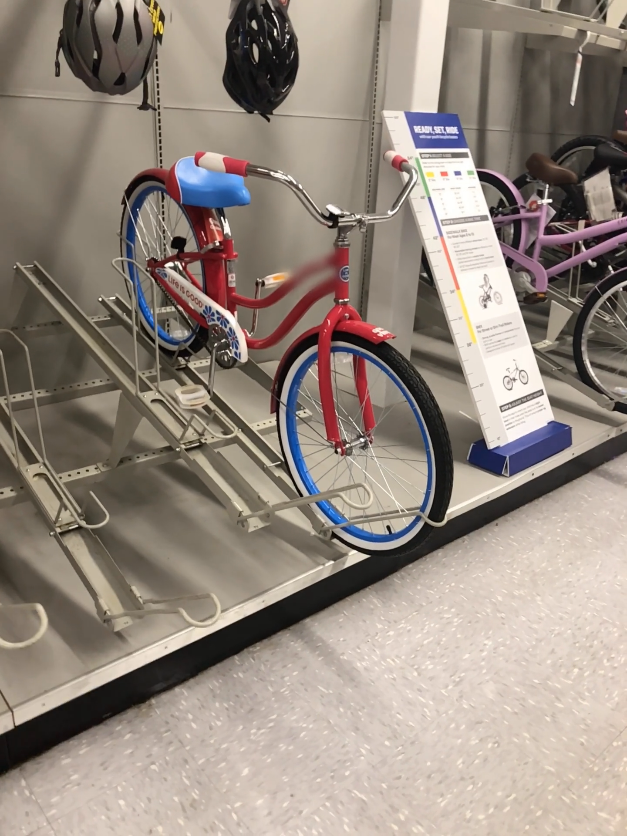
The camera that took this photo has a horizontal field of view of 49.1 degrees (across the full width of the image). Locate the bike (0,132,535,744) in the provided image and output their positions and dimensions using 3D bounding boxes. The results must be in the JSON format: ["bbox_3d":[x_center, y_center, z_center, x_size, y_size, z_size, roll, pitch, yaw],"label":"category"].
[{"bbox_3d":[-0.233,-0.174,2.071,0.812,0.676,1.610,-16,44,-39],"label":"bike"}]
